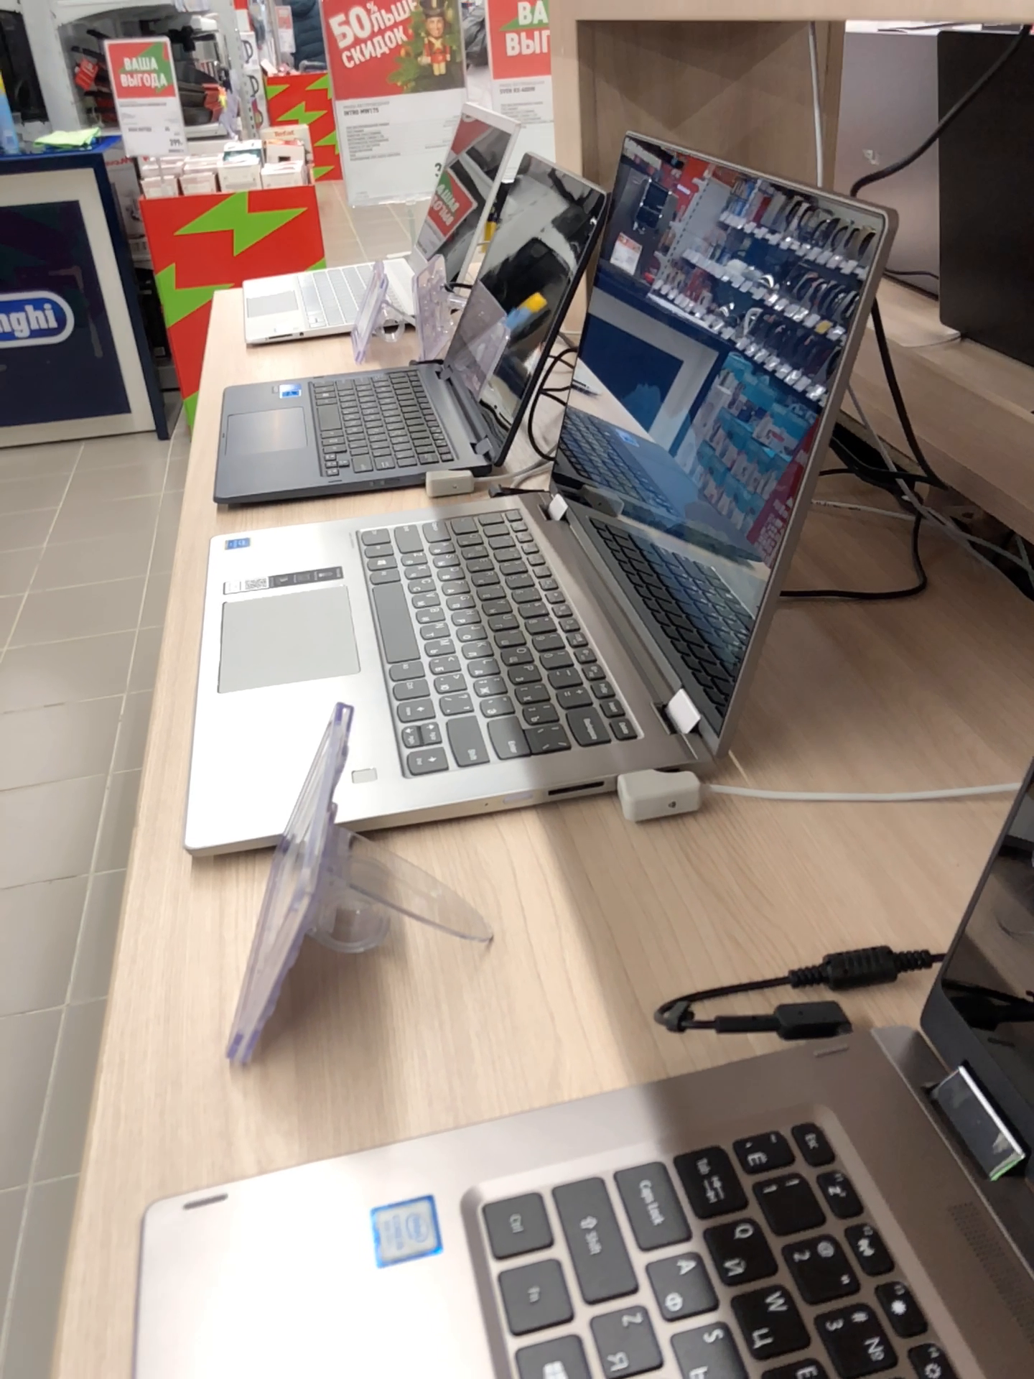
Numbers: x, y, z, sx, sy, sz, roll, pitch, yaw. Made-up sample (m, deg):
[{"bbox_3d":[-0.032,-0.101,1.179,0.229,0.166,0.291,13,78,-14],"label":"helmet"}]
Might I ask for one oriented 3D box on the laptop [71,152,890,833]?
[{"bbox_3d":[-0.029,-0.131,0.572,0.287,0.205,0.313,-9,30,-8],"label":"laptop"}]
